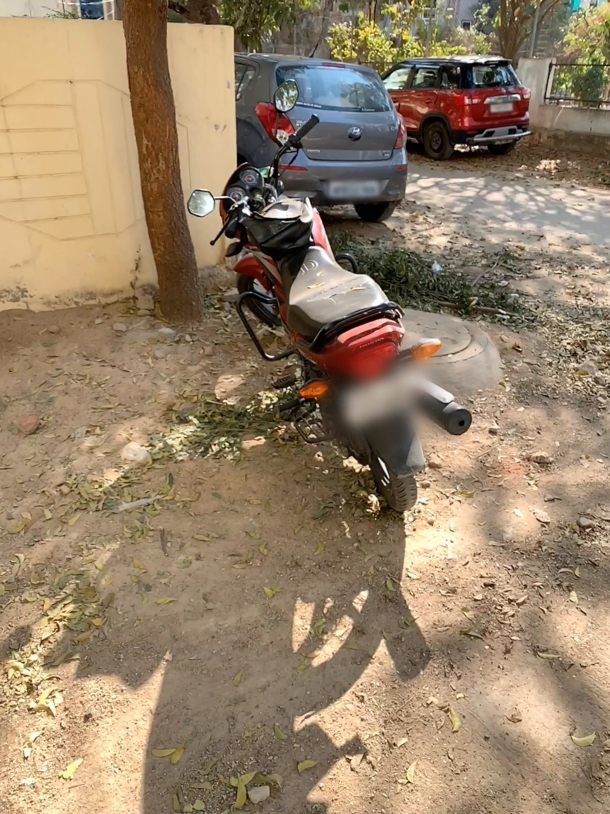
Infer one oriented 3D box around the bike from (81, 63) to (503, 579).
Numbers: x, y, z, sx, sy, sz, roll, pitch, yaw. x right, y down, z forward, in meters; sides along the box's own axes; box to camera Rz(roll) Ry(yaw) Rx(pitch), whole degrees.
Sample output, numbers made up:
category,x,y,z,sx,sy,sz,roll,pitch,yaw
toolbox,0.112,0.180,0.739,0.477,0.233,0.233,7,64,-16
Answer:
category,x,y,z,sx,sy,sz,roll,pitch,yaw
bike,-0.223,-0.493,2.333,0.776,1.178,1.649,-11,35,-20
